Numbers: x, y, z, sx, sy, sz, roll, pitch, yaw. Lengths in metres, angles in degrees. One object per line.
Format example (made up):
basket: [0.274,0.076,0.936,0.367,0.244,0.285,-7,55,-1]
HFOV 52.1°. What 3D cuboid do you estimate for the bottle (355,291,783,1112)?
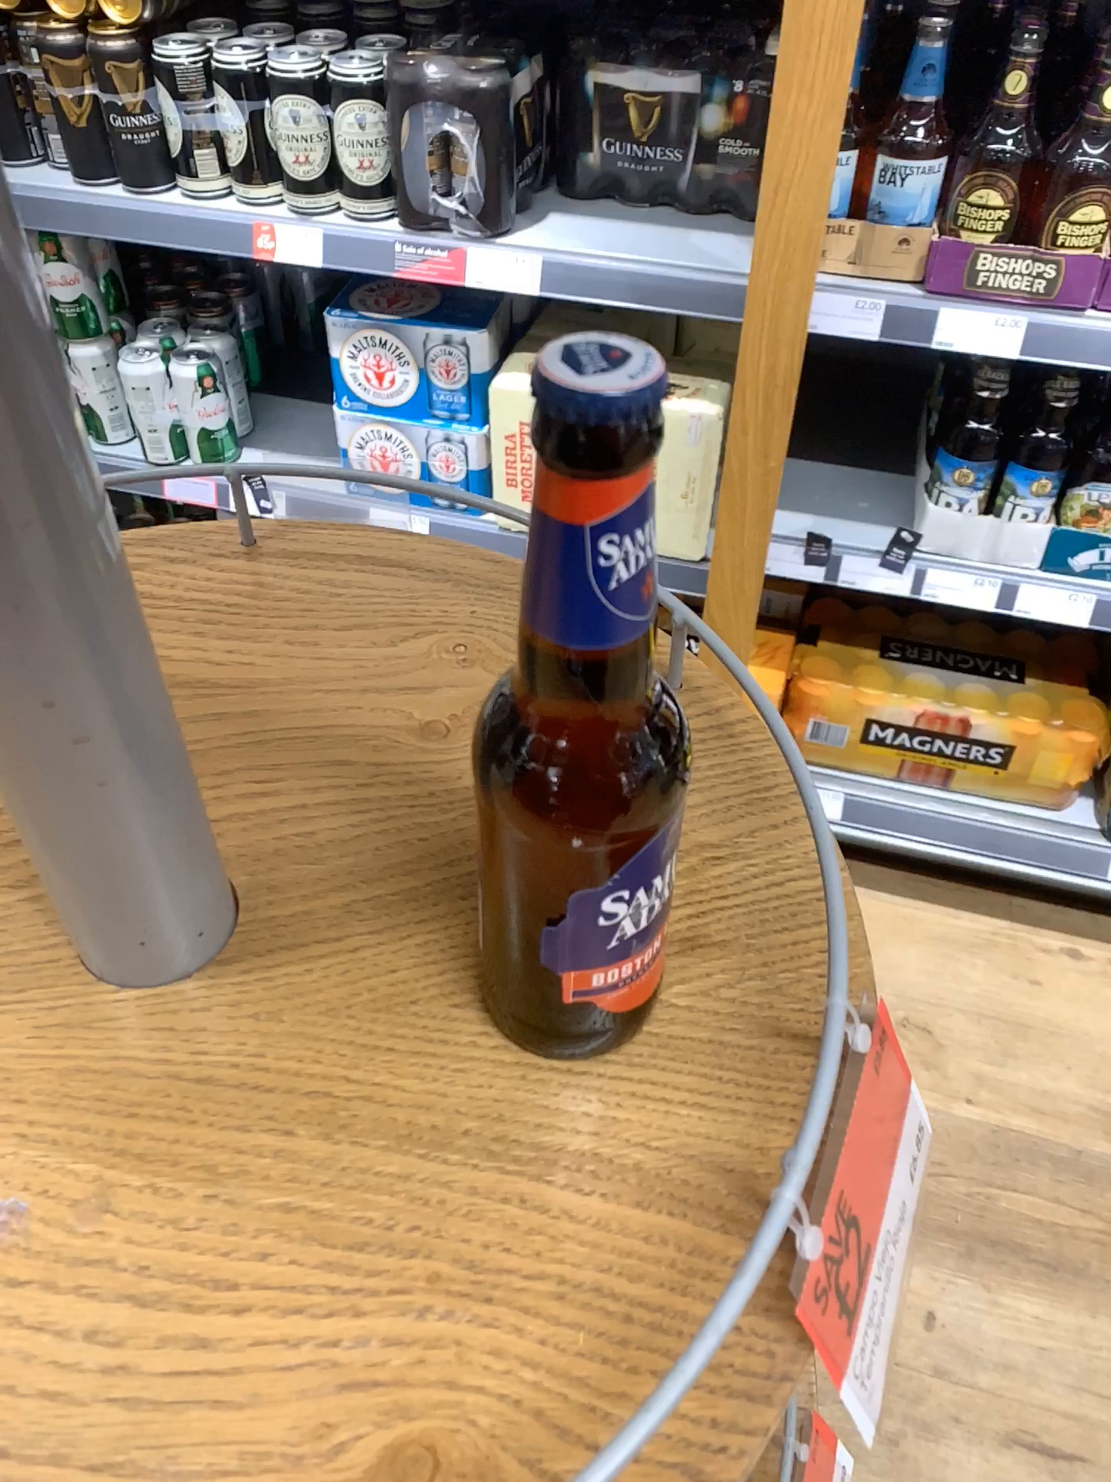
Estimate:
bottle: [0.004,0.006,0.293,0.061,0.211,0.063,0,45,0]
